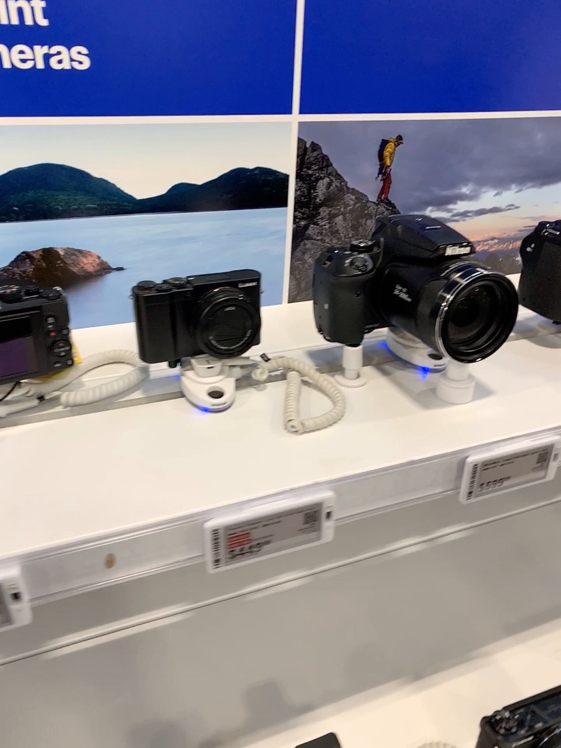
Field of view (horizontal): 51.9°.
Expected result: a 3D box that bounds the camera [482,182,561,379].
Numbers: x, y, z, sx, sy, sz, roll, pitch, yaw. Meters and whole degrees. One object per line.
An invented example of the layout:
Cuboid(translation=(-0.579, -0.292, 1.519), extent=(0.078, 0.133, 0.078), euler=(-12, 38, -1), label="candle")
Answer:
Cuboid(translation=(0.341, -0.106, 0.554), extent=(0.160, 0.109, 0.221), euler=(-11, 29, -20), label="camera")

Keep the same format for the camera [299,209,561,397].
Cuboid(translation=(0.120, -0.073, 0.503), extent=(0.160, 0.099, 0.151), euler=(-11, 29, -19), label="camera")

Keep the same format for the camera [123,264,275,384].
Cuboid(translation=(-0.065, -0.044, 0.475), extent=(0.110, 0.070, 0.050), euler=(-11, 29, -19), label="camera")

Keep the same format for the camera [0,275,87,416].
Cuboid(translation=(-0.219, -0.025, 0.438), extent=(0.120, 0.070, 0.050), euler=(-15, 30, -26), label="camera")
